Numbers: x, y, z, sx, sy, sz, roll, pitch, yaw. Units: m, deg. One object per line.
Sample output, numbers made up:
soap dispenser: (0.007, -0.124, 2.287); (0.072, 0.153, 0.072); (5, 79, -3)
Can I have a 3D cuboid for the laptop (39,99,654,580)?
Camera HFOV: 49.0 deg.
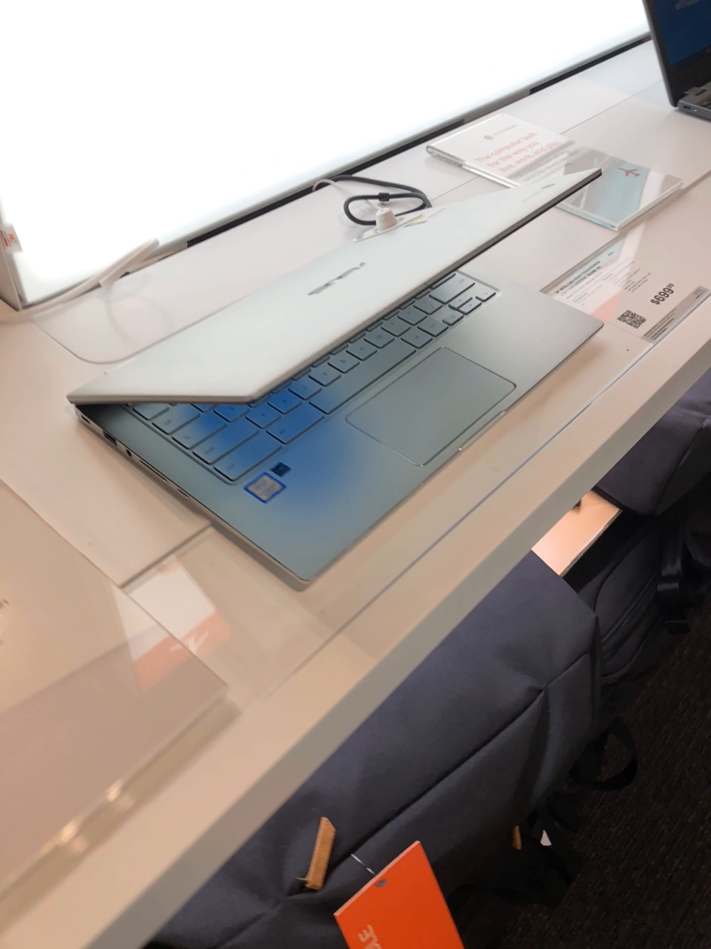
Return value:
laptop: (0.008, -0.111, 0.487); (0.193, 0.102, 0.312); (34, 54, 27)
